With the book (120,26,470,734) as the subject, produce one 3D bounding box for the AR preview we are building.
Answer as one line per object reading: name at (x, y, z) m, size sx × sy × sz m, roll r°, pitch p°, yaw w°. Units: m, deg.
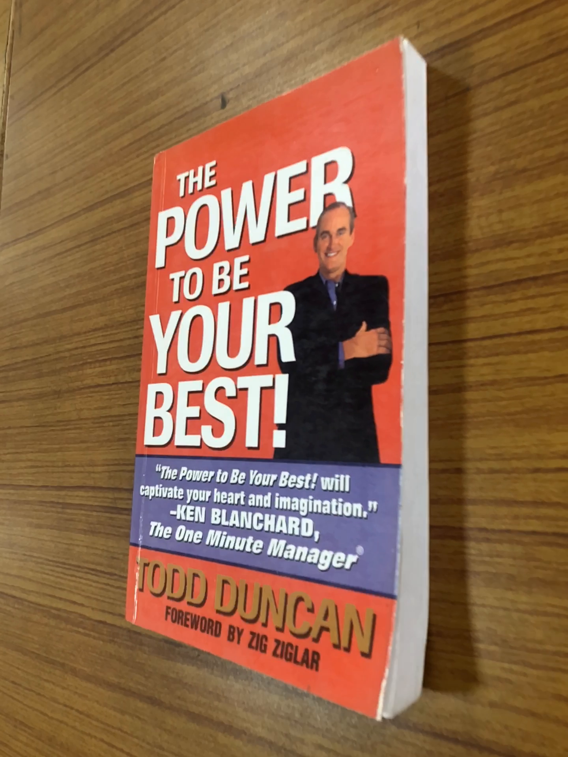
book at (-0.003, -0.001, 0.256) m, size 0.151 × 0.030 × 0.220 m, roll -4°, pitch 81°, yaw 41°
